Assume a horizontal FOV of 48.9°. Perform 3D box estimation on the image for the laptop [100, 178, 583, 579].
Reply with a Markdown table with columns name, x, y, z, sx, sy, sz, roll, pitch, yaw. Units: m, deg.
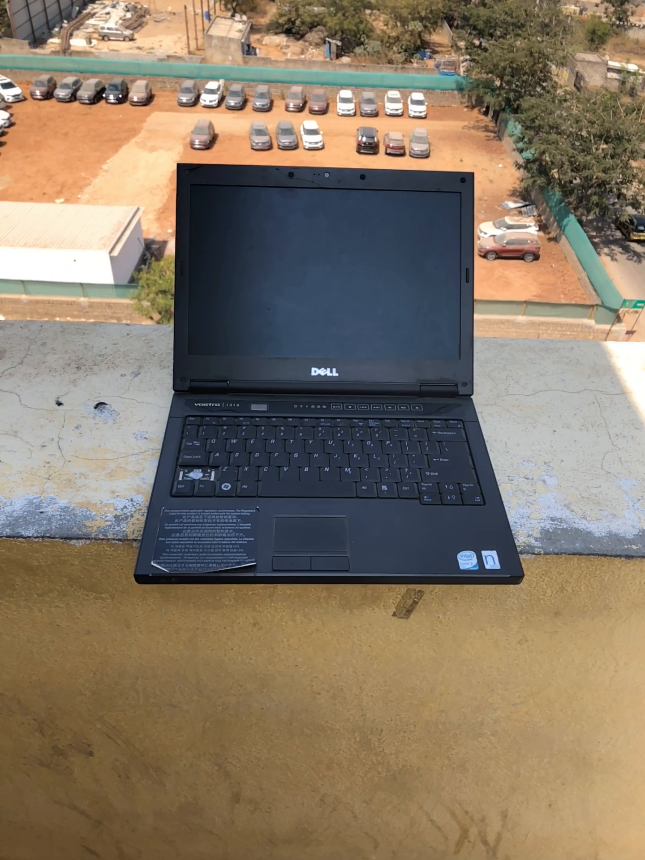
| name | x | y | z | sx | sy | sz | roll | pitch | yaw |
| --- | --- | --- | --- | --- | --- | --- | --- | --- | --- |
| laptop | 0.010 | -0.073 | 0.645 | 0.301 | 0.177 | 0.378 | 0 | 40 | -1 |
